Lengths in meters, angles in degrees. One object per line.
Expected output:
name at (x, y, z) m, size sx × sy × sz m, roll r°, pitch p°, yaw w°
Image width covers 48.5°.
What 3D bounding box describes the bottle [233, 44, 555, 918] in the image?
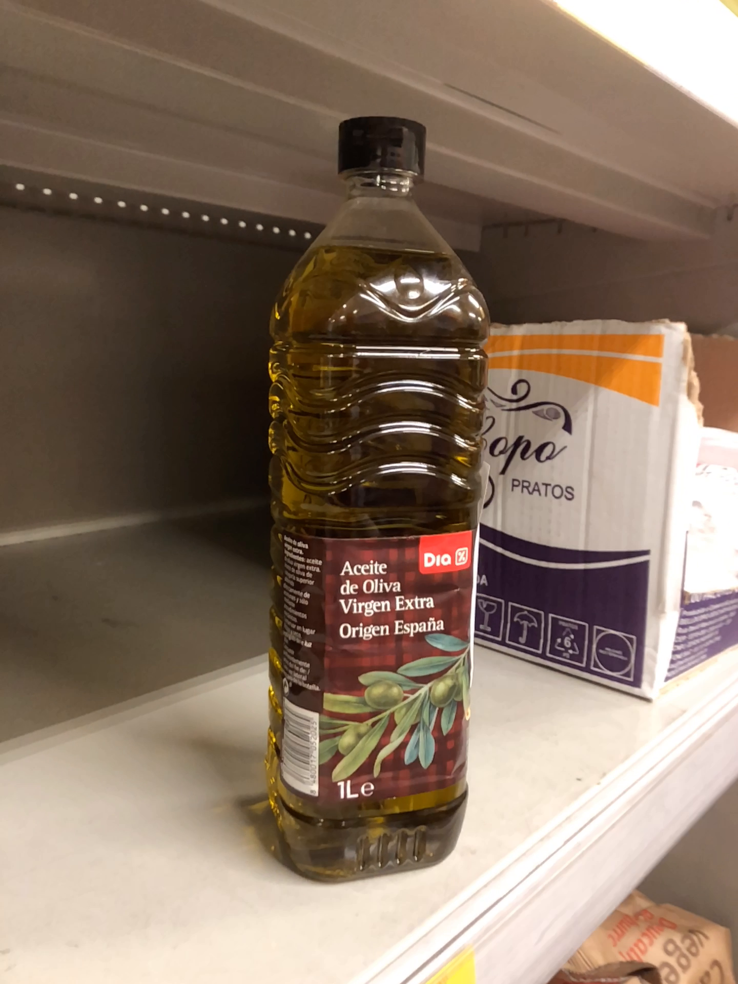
bottle at (0.002, 0.001, 0.305) m, size 0.080 × 0.279 × 0.070 m, roll 0°, pitch 10°, yaw -21°
